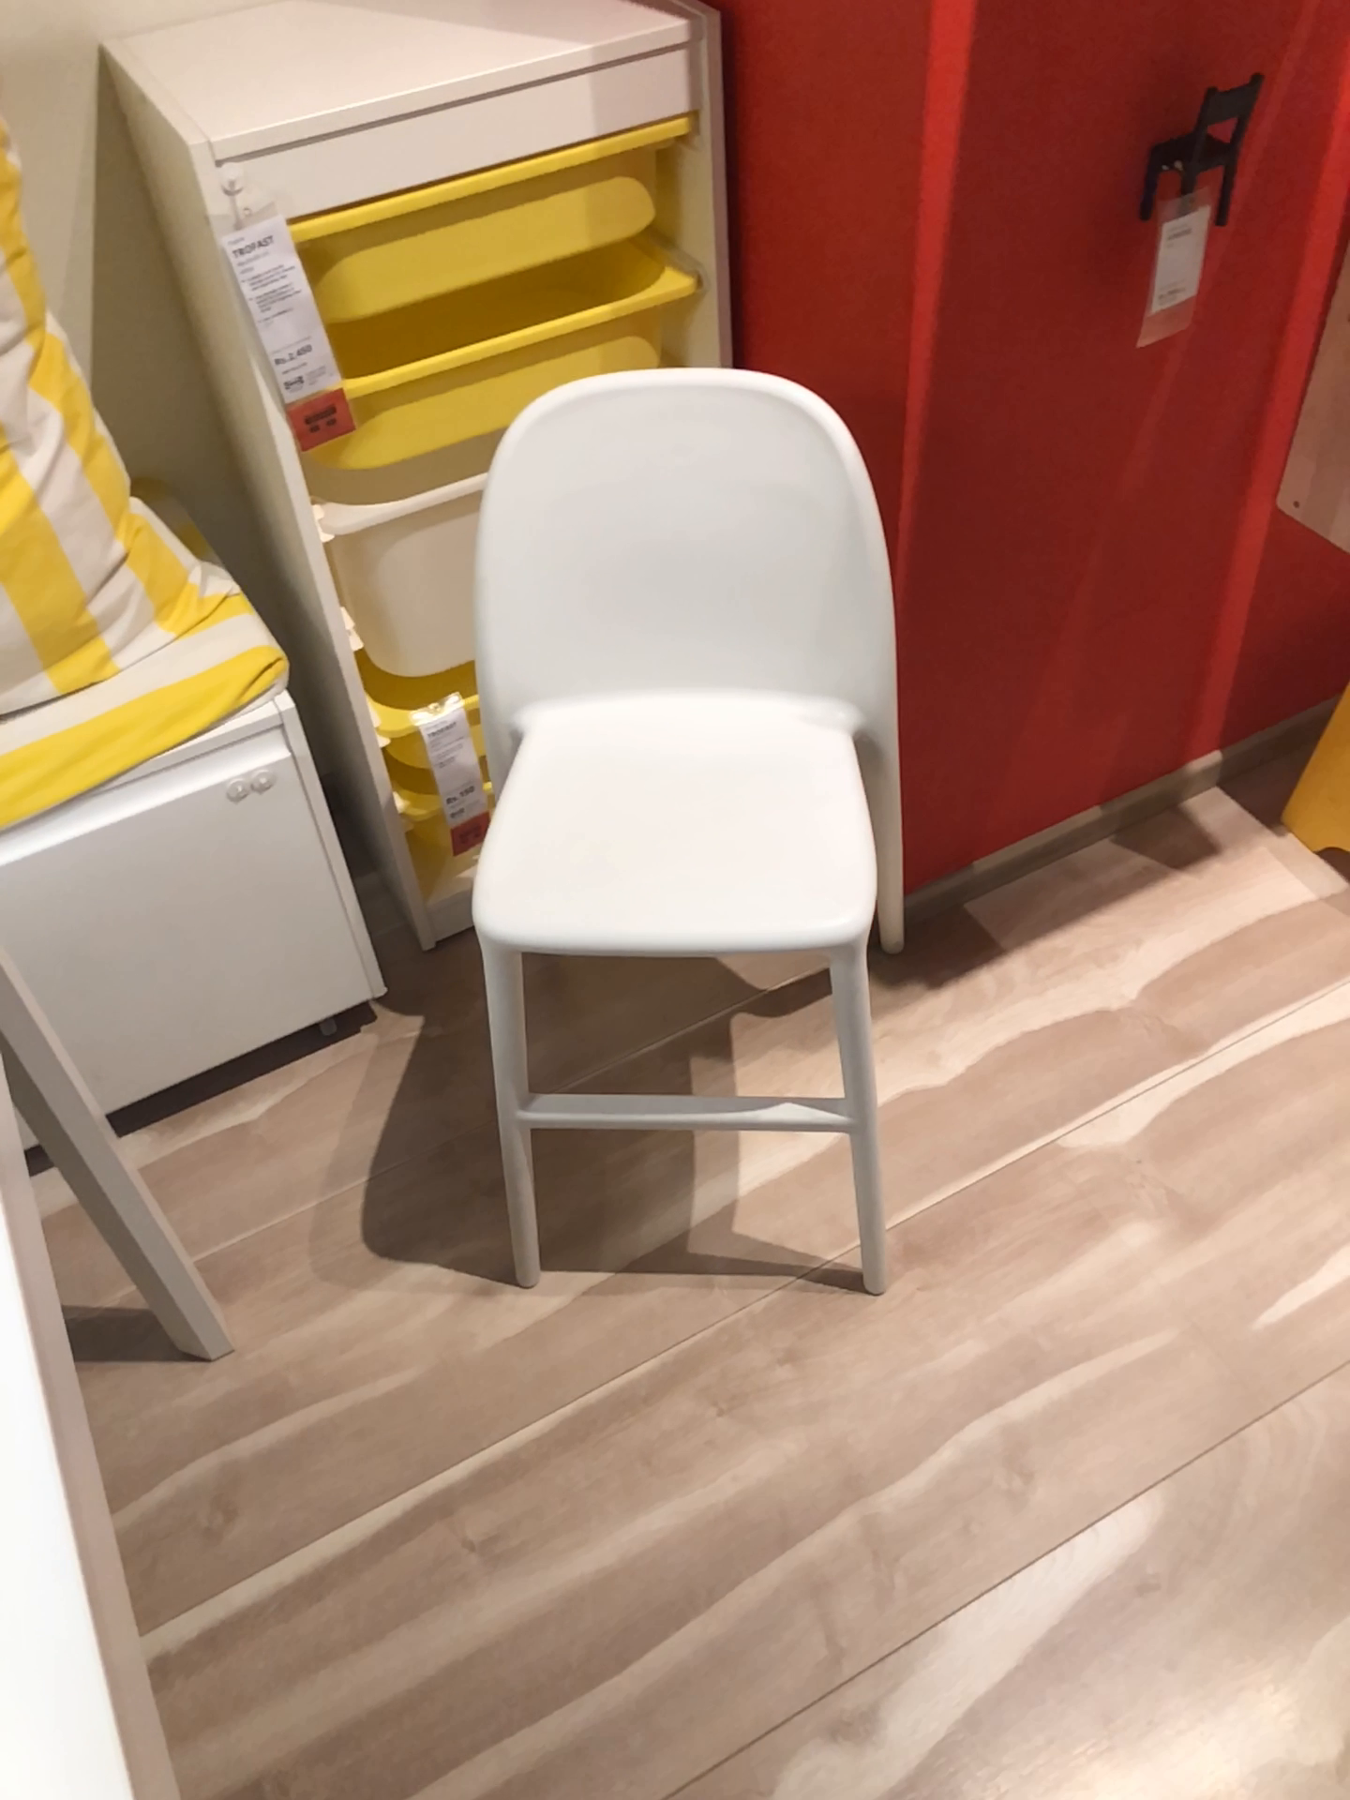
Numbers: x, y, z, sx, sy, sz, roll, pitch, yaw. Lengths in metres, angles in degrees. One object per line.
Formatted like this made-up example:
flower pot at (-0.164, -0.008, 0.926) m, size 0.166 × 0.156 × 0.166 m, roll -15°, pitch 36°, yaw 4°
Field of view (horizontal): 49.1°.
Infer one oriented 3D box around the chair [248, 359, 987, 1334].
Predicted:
chair at (-0.006, -0.004, 1.253) m, size 0.420 × 0.706 × 0.463 m, roll 0°, pitch 50°, yaw 4°
